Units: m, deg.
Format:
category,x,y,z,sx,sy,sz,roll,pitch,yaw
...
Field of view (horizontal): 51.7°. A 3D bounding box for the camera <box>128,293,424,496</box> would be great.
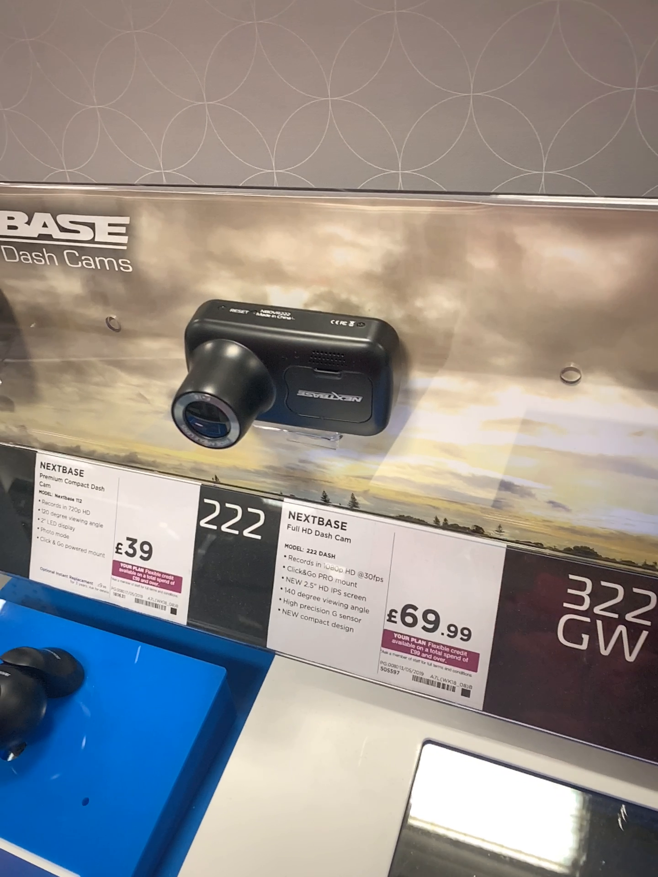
category,x,y,z,sx,sy,sz,roll,pitch,yaw
camera,-0.016,-0.019,0.246,0.090,0.040,0.050,10,41,19
